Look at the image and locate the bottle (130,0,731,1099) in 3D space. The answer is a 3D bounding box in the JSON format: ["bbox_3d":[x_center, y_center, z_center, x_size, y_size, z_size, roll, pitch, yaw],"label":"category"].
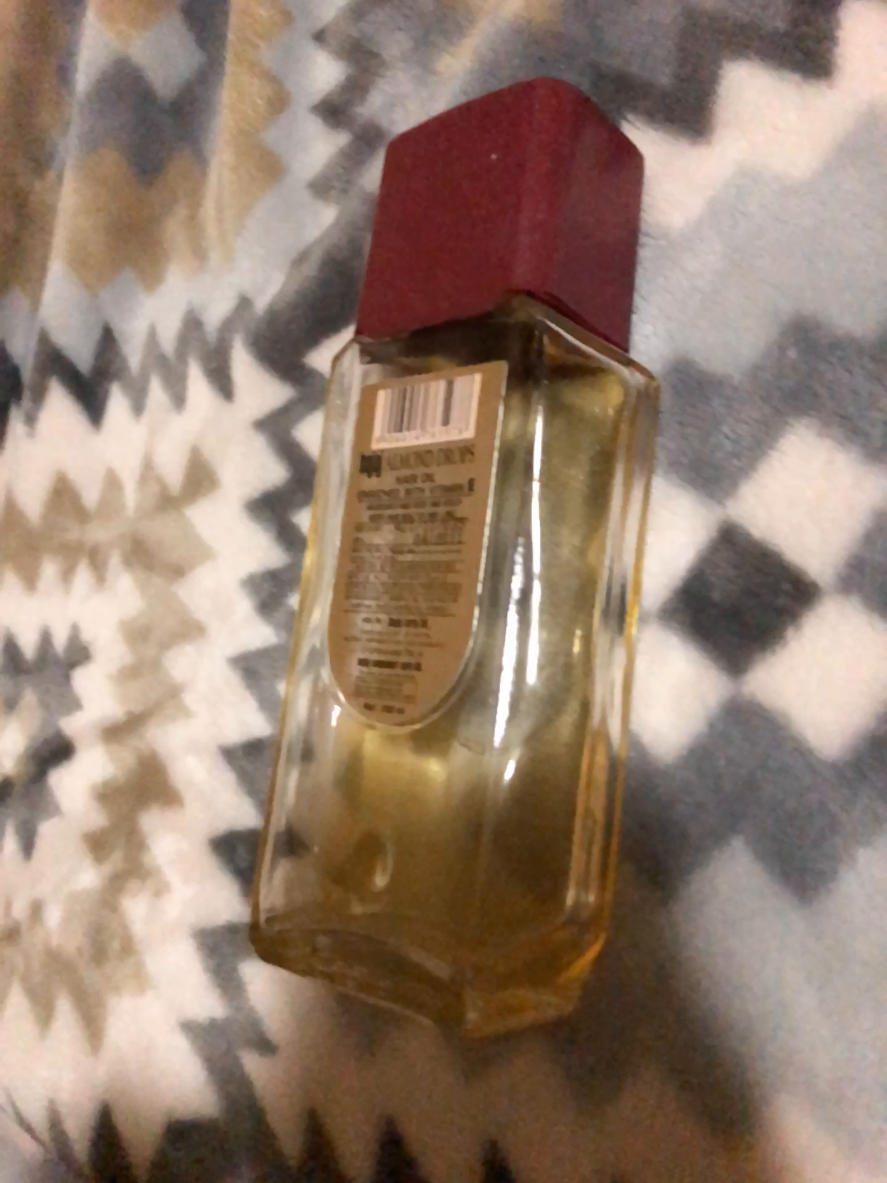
[{"bbox_3d":[-0.001,-0.020,0.189,0.080,0.040,0.190,-1,76,42],"label":"bottle"}]
